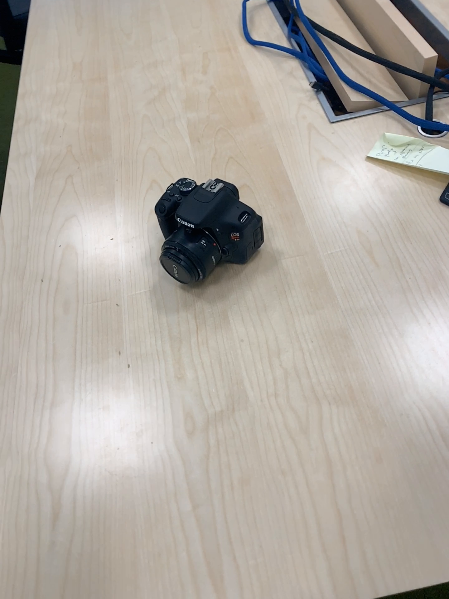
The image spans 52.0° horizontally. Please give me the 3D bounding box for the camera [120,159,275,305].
[{"bbox_3d":[-0.030,-0.091,0.597,0.140,0.080,0.131,26,63,24],"label":"camera"}]
